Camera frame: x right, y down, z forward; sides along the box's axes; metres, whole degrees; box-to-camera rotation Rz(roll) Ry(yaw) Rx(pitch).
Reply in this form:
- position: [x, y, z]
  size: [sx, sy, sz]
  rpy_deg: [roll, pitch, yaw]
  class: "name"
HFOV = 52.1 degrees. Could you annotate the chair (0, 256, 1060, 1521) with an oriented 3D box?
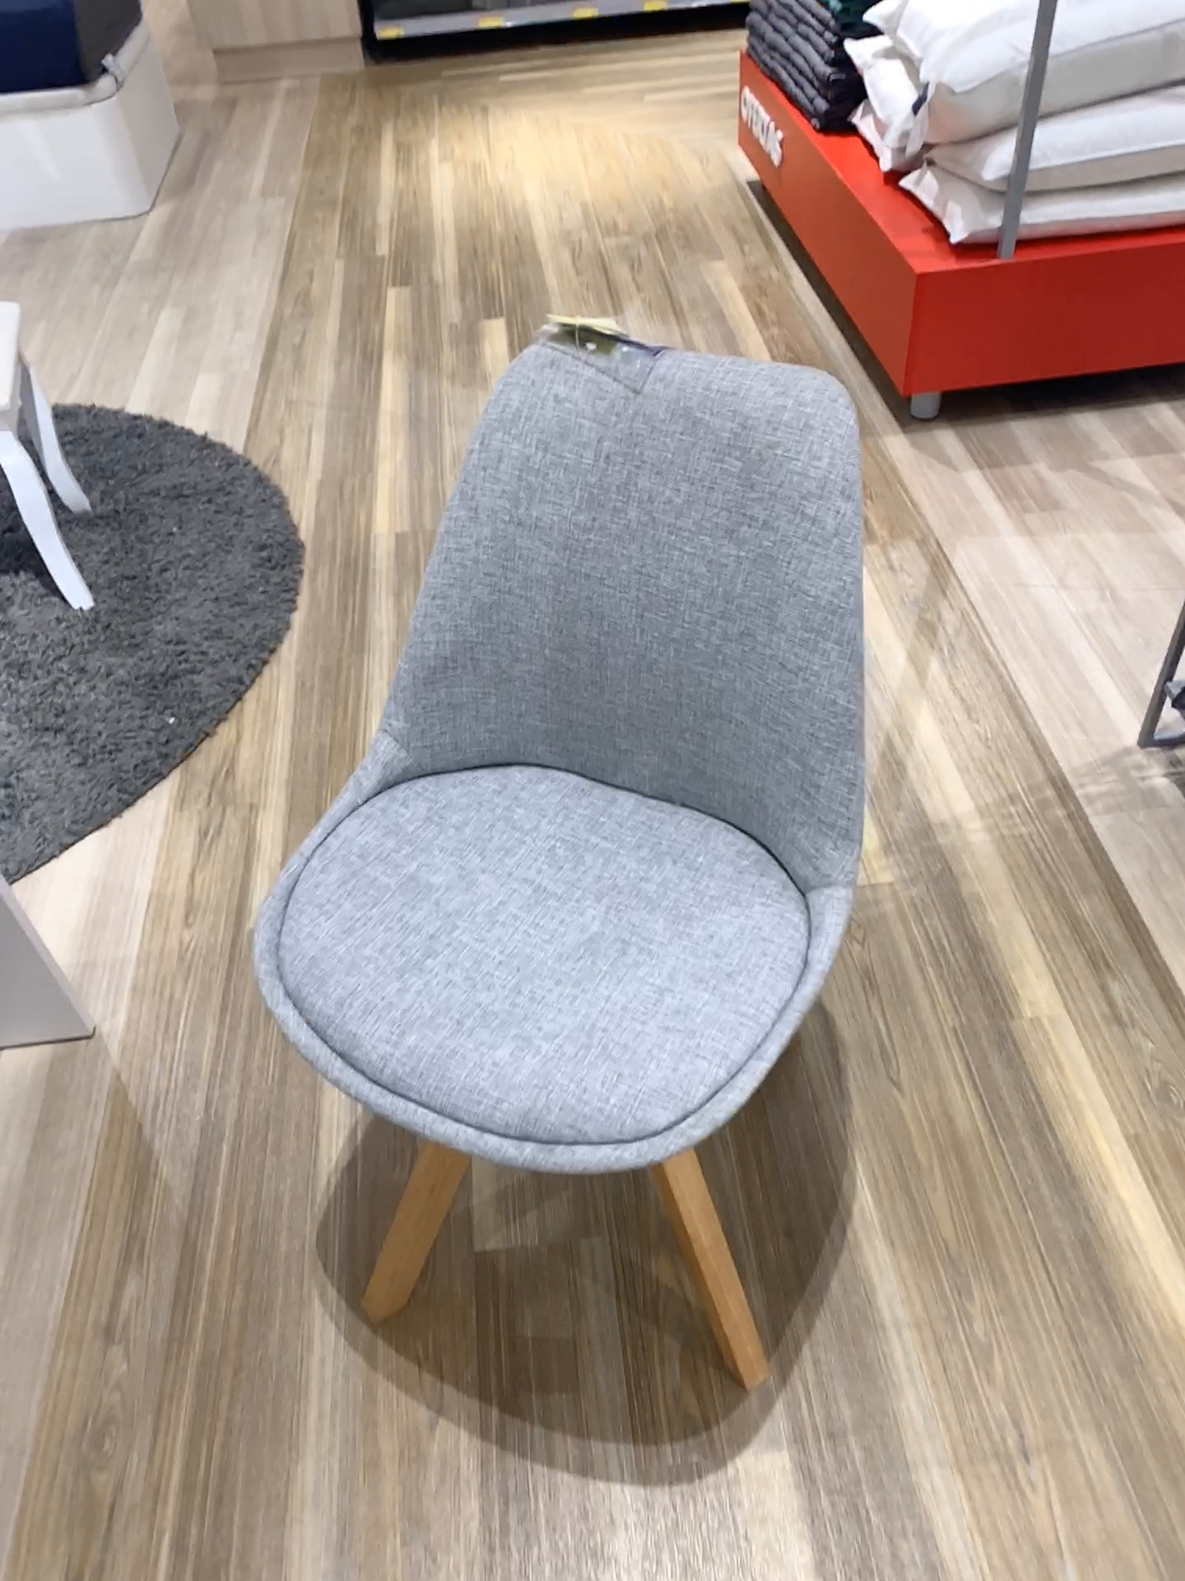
- position: [-0.006, 0.108, 1.030]
  size: [0.514, 0.856, 0.517]
  rpy_deg: [17, 48, 21]
  class: "chair"
